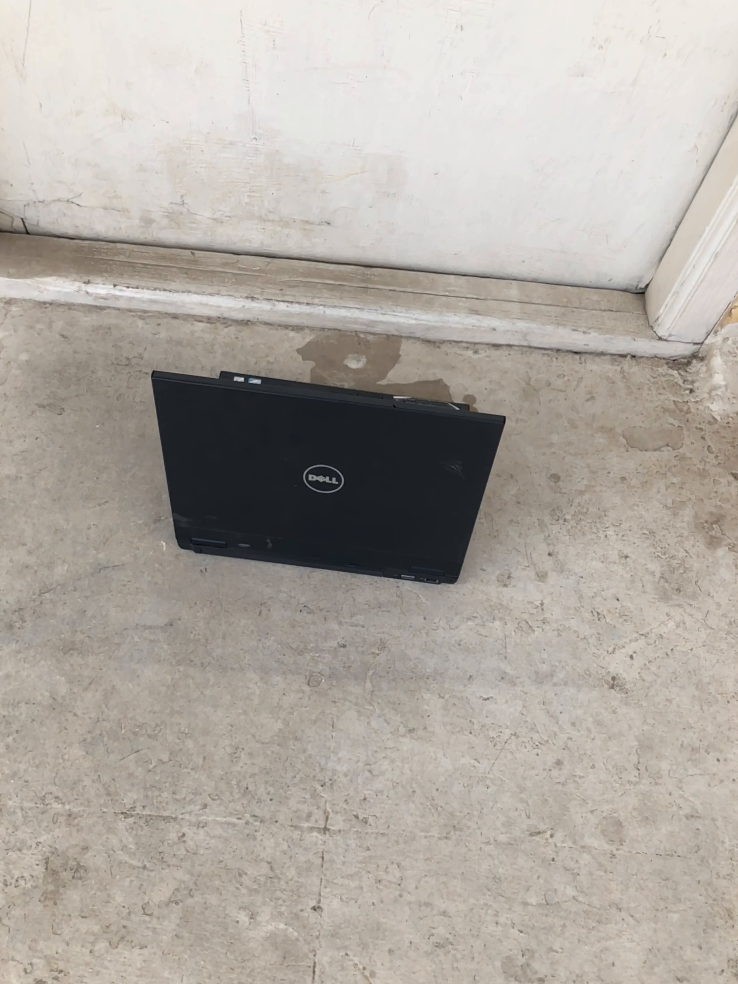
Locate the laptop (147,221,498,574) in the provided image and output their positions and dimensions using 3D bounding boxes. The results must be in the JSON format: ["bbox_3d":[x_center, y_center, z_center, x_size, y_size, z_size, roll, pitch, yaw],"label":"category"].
[{"bbox_3d":[-0.040,-0.085,0.837,0.279,0.252,0.225,8,62,1],"label":"laptop"}]
